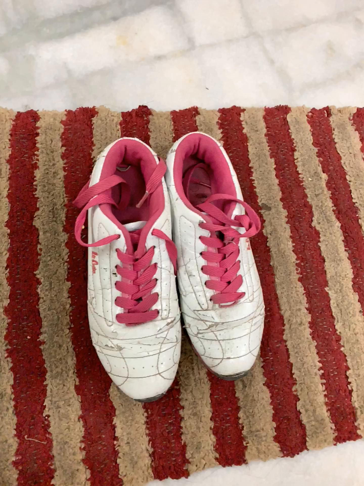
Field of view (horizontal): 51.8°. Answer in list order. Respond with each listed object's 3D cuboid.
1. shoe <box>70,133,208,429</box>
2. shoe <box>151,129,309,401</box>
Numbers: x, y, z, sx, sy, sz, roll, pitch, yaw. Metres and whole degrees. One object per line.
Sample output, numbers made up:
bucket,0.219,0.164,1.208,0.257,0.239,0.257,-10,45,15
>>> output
shoe,-0.047,0.030,0.359,0.090,0.100,0.241,-5,75,-10
shoe,0.034,0.019,0.385,0.100,0.100,0.241,-5,75,-10
